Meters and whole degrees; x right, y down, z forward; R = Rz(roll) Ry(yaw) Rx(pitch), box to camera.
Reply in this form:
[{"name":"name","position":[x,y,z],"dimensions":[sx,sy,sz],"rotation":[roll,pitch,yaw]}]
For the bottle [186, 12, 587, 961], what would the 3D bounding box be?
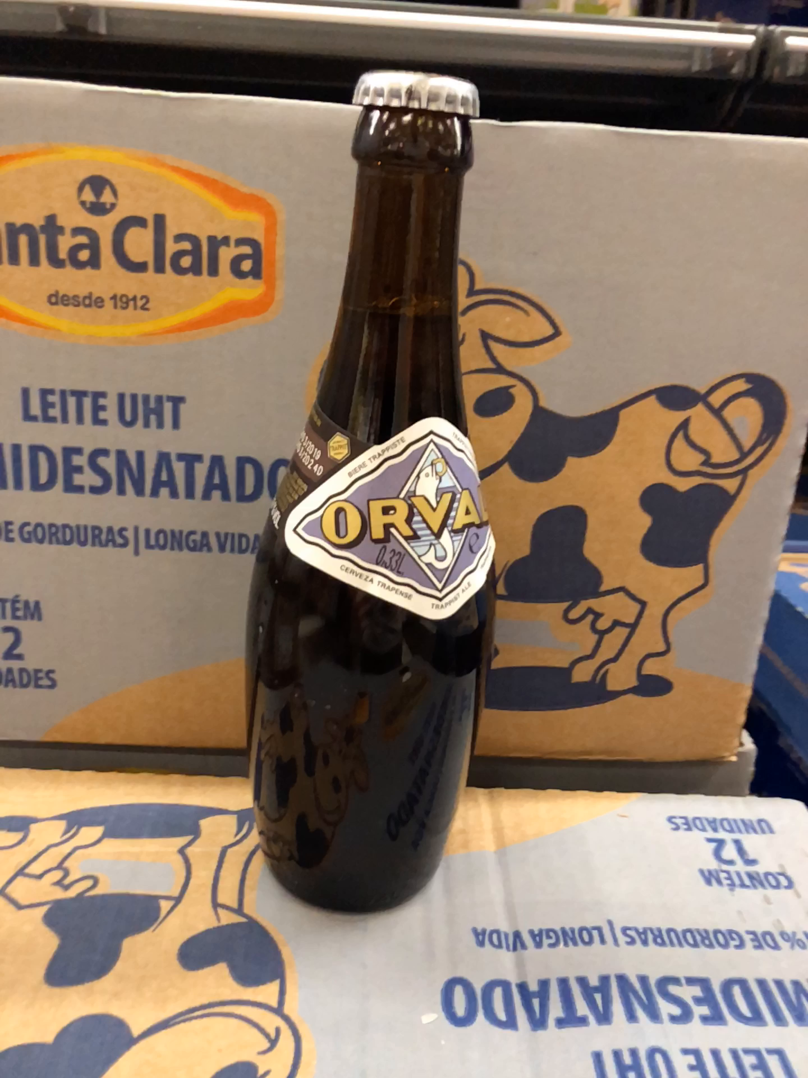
[{"name":"bottle","position":[-0.010,-0.008,0.235],"dimensions":[0.070,0.209,0.060],"rotation":[-8,20,-32]}]
